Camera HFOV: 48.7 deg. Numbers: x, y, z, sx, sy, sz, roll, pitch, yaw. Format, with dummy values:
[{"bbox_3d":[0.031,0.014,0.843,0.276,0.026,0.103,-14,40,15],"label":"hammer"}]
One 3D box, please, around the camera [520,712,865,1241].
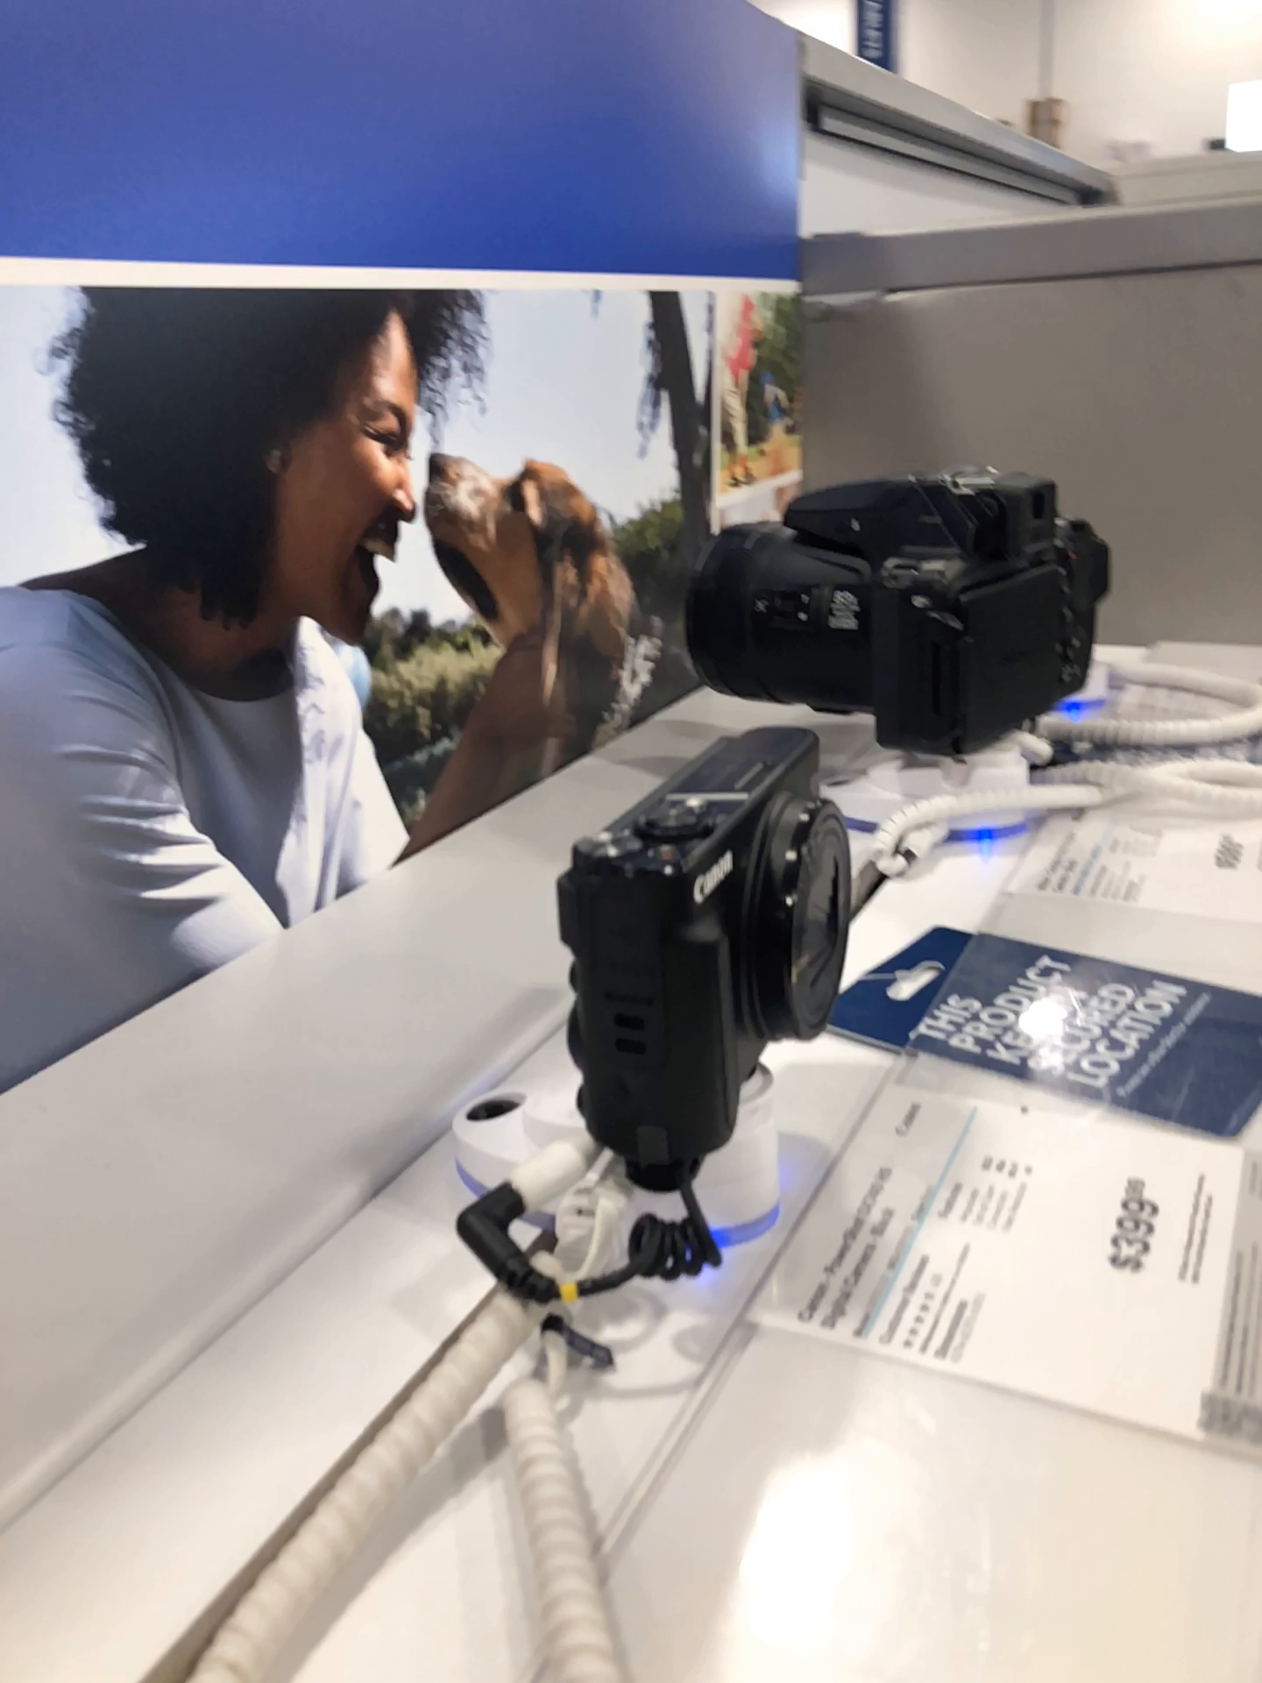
[{"bbox_3d":[0.021,0.021,0.312,0.040,0.070,0.120,4,21,20],"label":"camera"}]
